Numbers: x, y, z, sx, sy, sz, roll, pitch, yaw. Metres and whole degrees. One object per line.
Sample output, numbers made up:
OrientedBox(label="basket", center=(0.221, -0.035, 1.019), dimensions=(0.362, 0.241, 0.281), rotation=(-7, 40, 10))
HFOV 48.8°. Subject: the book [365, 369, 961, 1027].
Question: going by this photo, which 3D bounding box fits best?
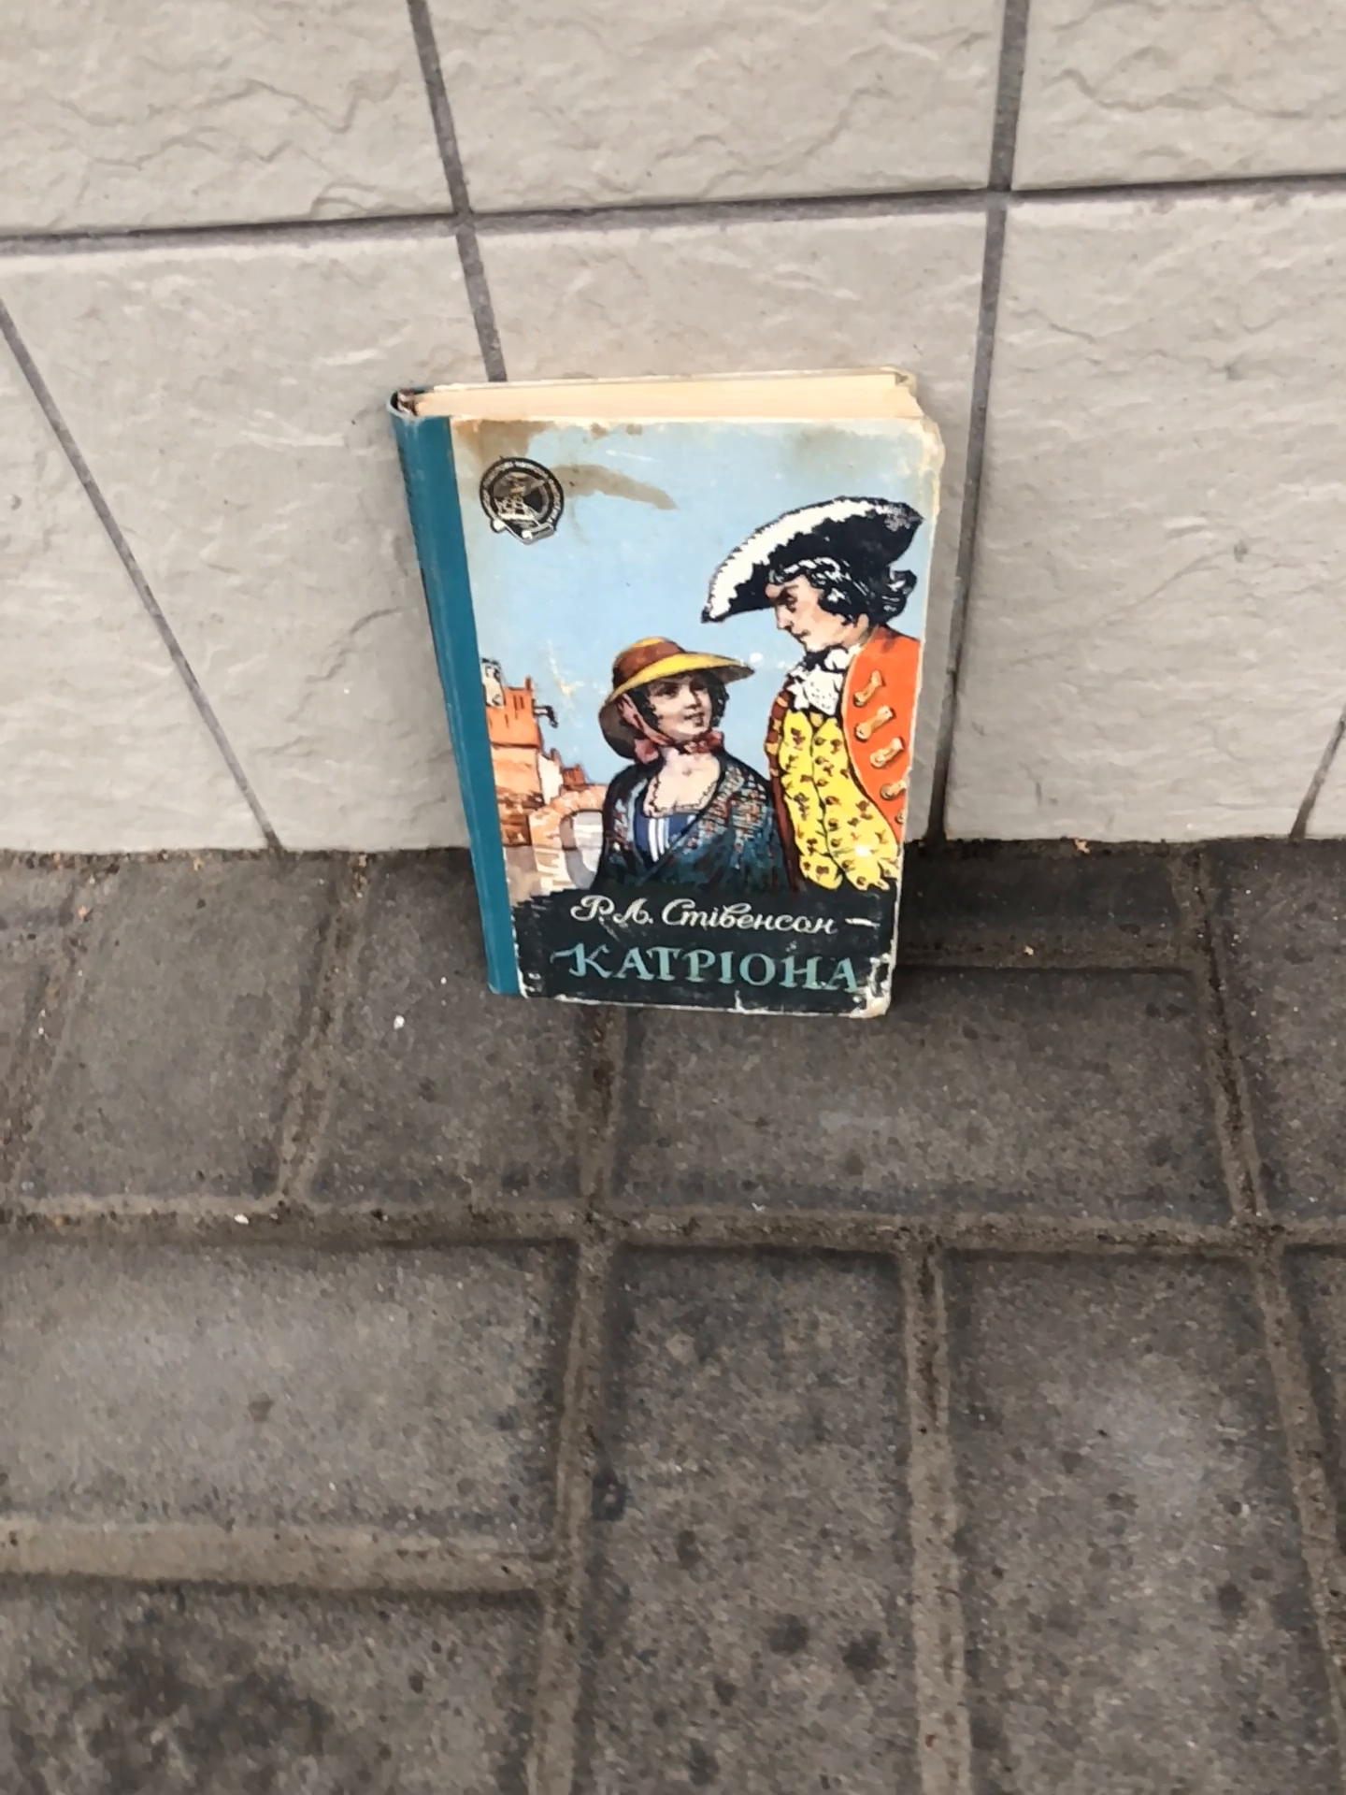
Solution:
OrientedBox(label="book", center=(0.003, -0.045, 0.405), dimensions=(0.134, 0.189, 0.030), rotation=(2, 42, 8))
